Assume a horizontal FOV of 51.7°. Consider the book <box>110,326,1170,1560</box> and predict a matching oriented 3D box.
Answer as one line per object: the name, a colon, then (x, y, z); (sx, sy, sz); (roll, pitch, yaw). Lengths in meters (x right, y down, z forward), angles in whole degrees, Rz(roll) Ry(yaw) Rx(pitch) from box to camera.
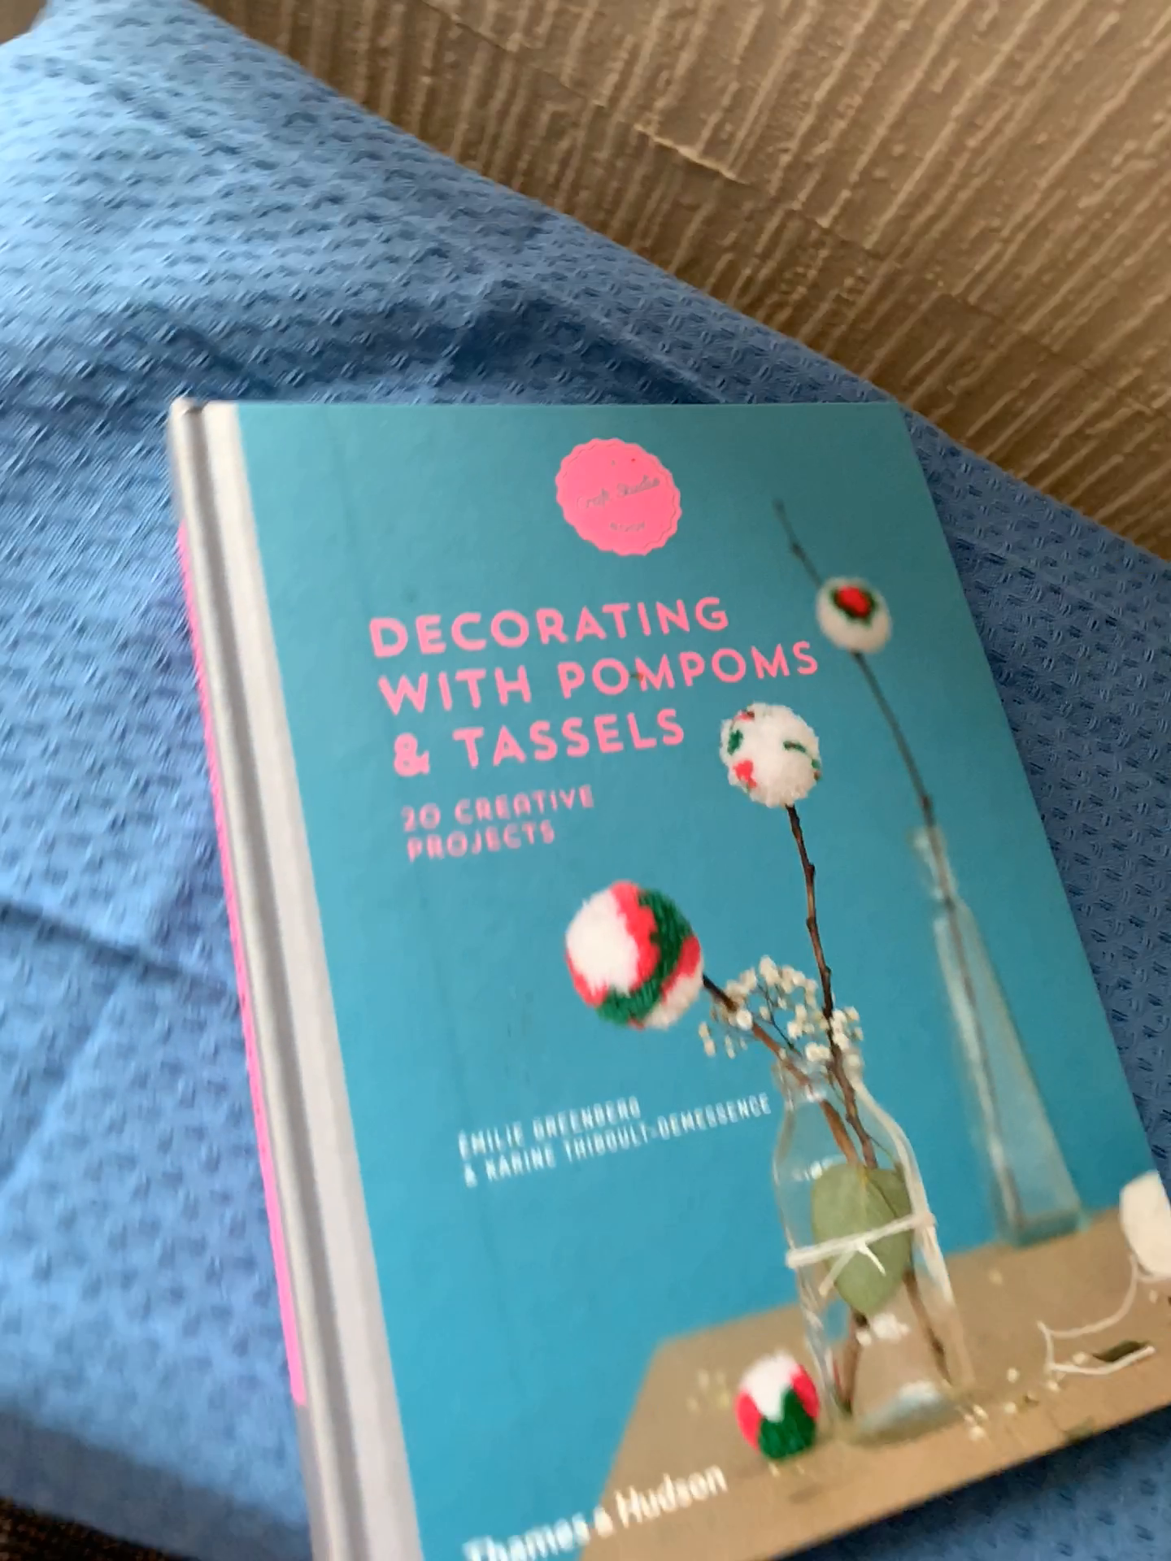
book: (0.015, 0.017, 0.258); (0.190, 0.020, 0.251); (-7, 73, -23)
